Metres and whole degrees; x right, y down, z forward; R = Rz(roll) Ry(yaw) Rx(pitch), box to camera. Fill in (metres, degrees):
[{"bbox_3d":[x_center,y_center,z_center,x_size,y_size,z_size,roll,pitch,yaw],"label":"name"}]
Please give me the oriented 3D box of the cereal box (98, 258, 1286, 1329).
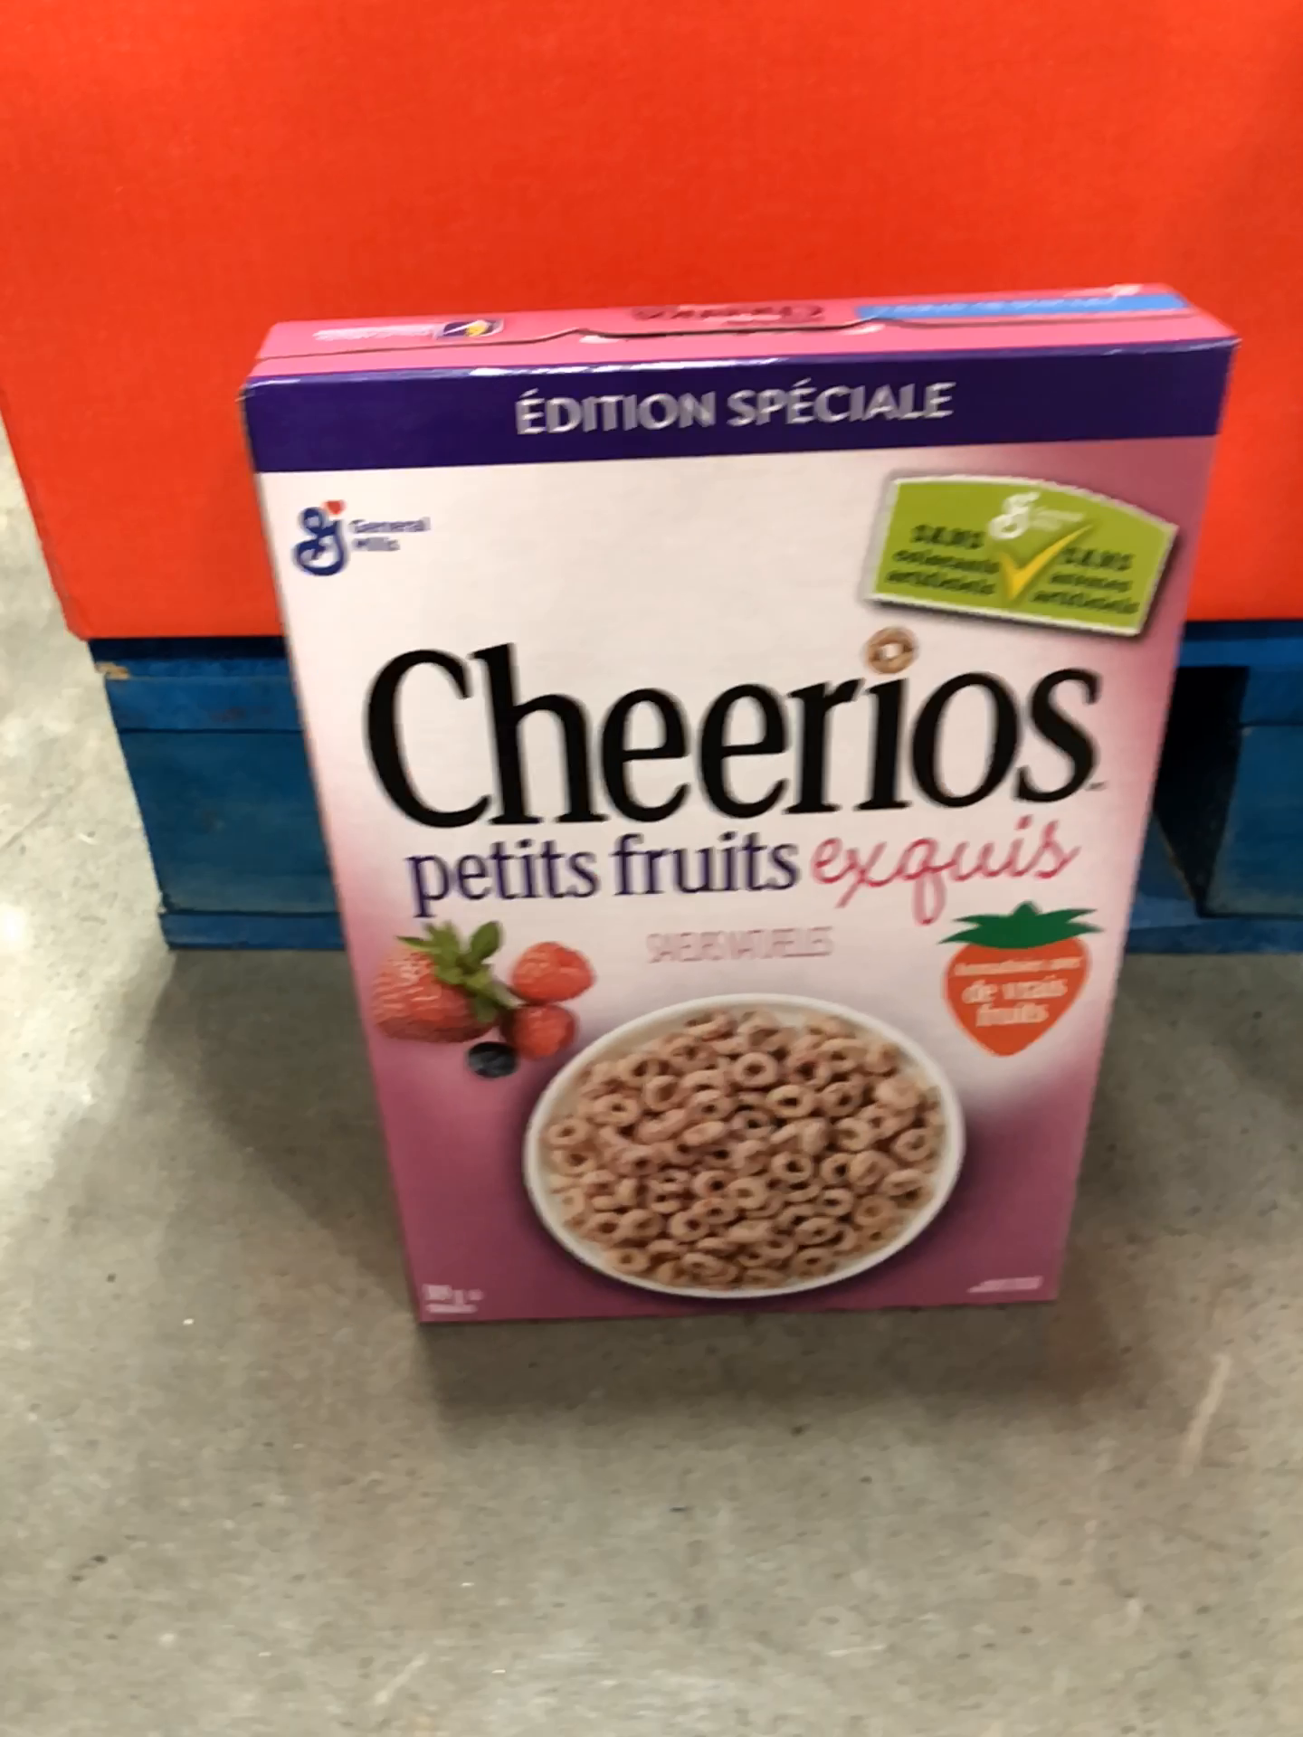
[{"bbox_3d":[0.011,0.002,0.373,0.220,0.279,0.060,-2,35,1],"label":"cereal box"}]
